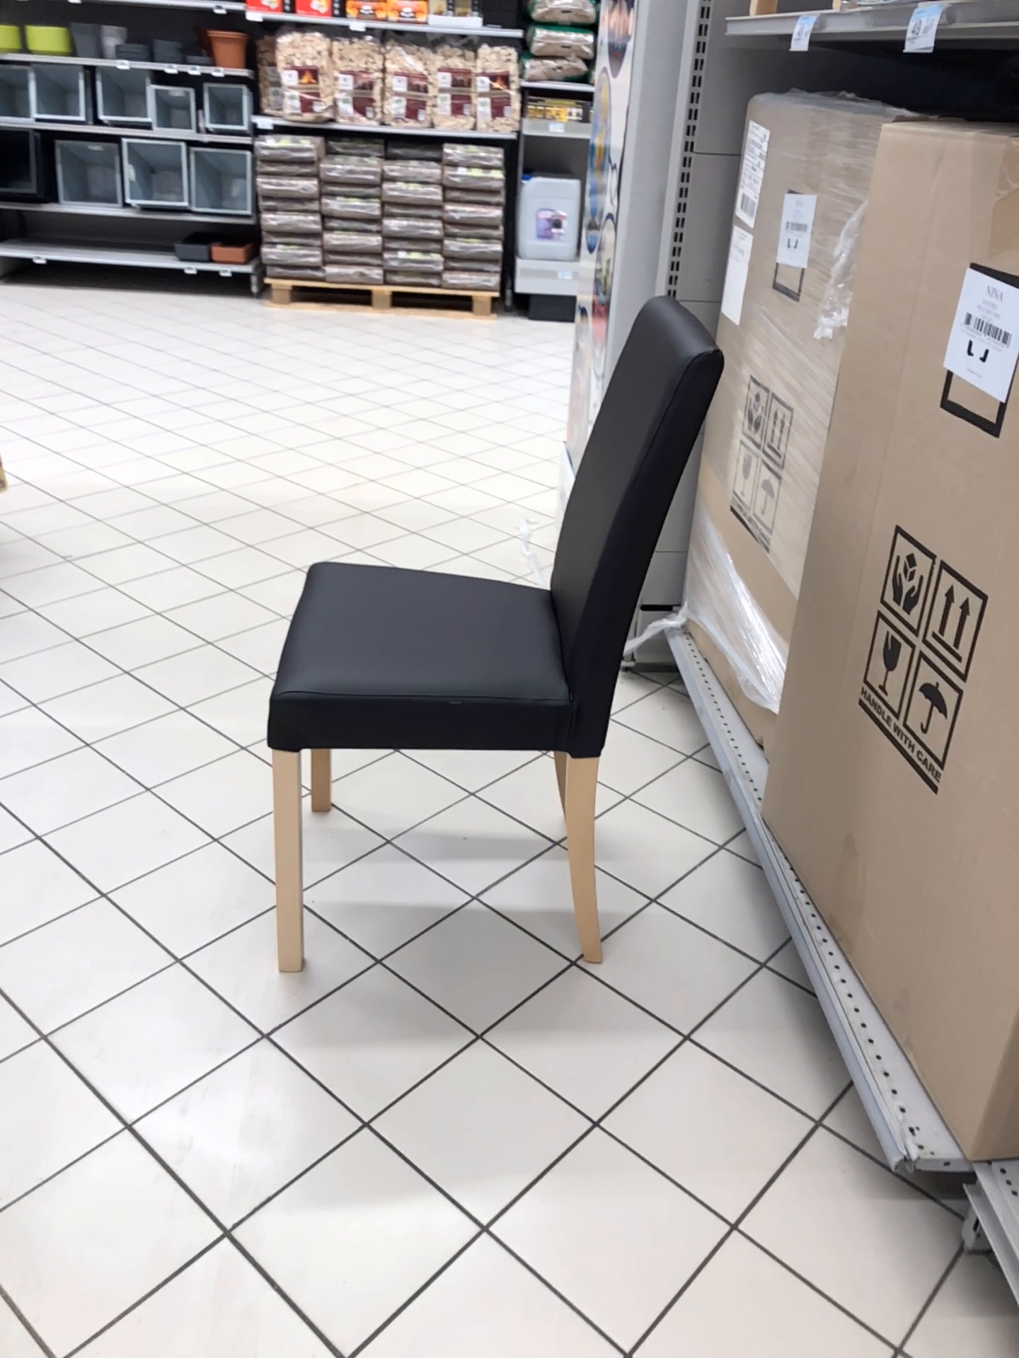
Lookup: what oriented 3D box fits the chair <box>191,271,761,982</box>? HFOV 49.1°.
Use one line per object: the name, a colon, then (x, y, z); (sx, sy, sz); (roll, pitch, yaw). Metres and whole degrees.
chair: (-0.067, -0.069, 1.550); (0.590, 0.855, 0.453); (1, 28, -6)
